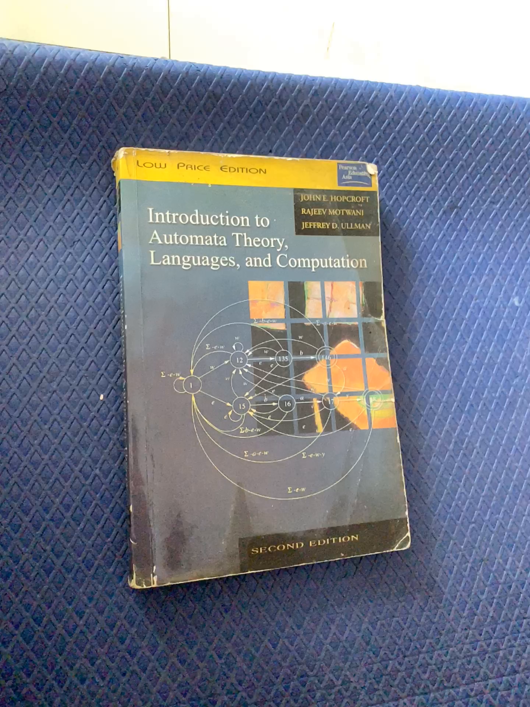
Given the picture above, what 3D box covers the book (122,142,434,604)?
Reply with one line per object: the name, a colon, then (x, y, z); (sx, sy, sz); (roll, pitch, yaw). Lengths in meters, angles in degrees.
book: (0.002, 0.003, 0.315); (0.150, 0.050, 0.230); (-3, 82, -16)
